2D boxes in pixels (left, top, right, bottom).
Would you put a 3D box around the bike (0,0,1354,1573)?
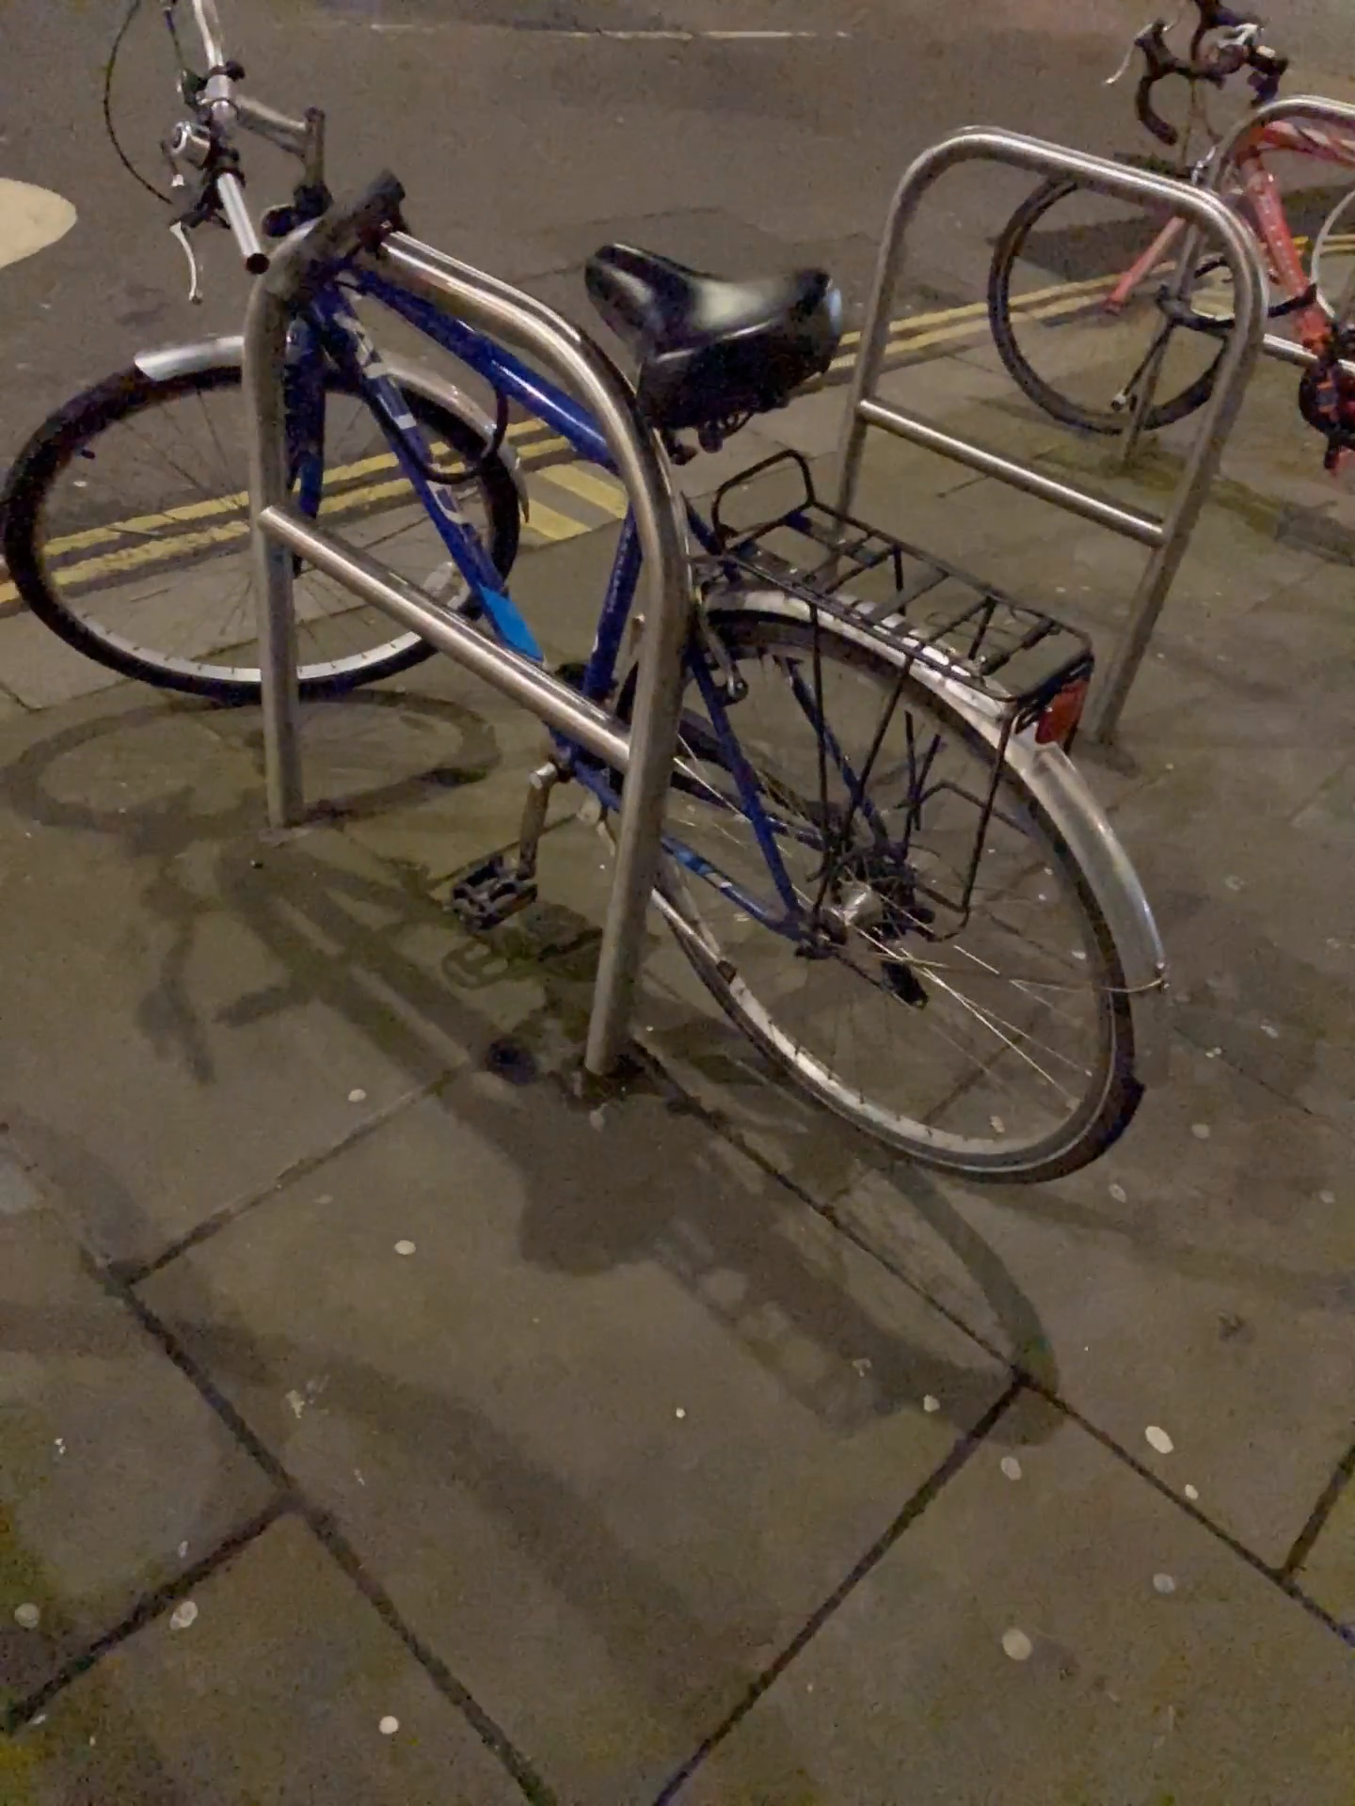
[{"bbox_3d":[-0.213,-0.324,1.407,1.596,1.108,0.658,30,44,20],"label":"bike"}]
